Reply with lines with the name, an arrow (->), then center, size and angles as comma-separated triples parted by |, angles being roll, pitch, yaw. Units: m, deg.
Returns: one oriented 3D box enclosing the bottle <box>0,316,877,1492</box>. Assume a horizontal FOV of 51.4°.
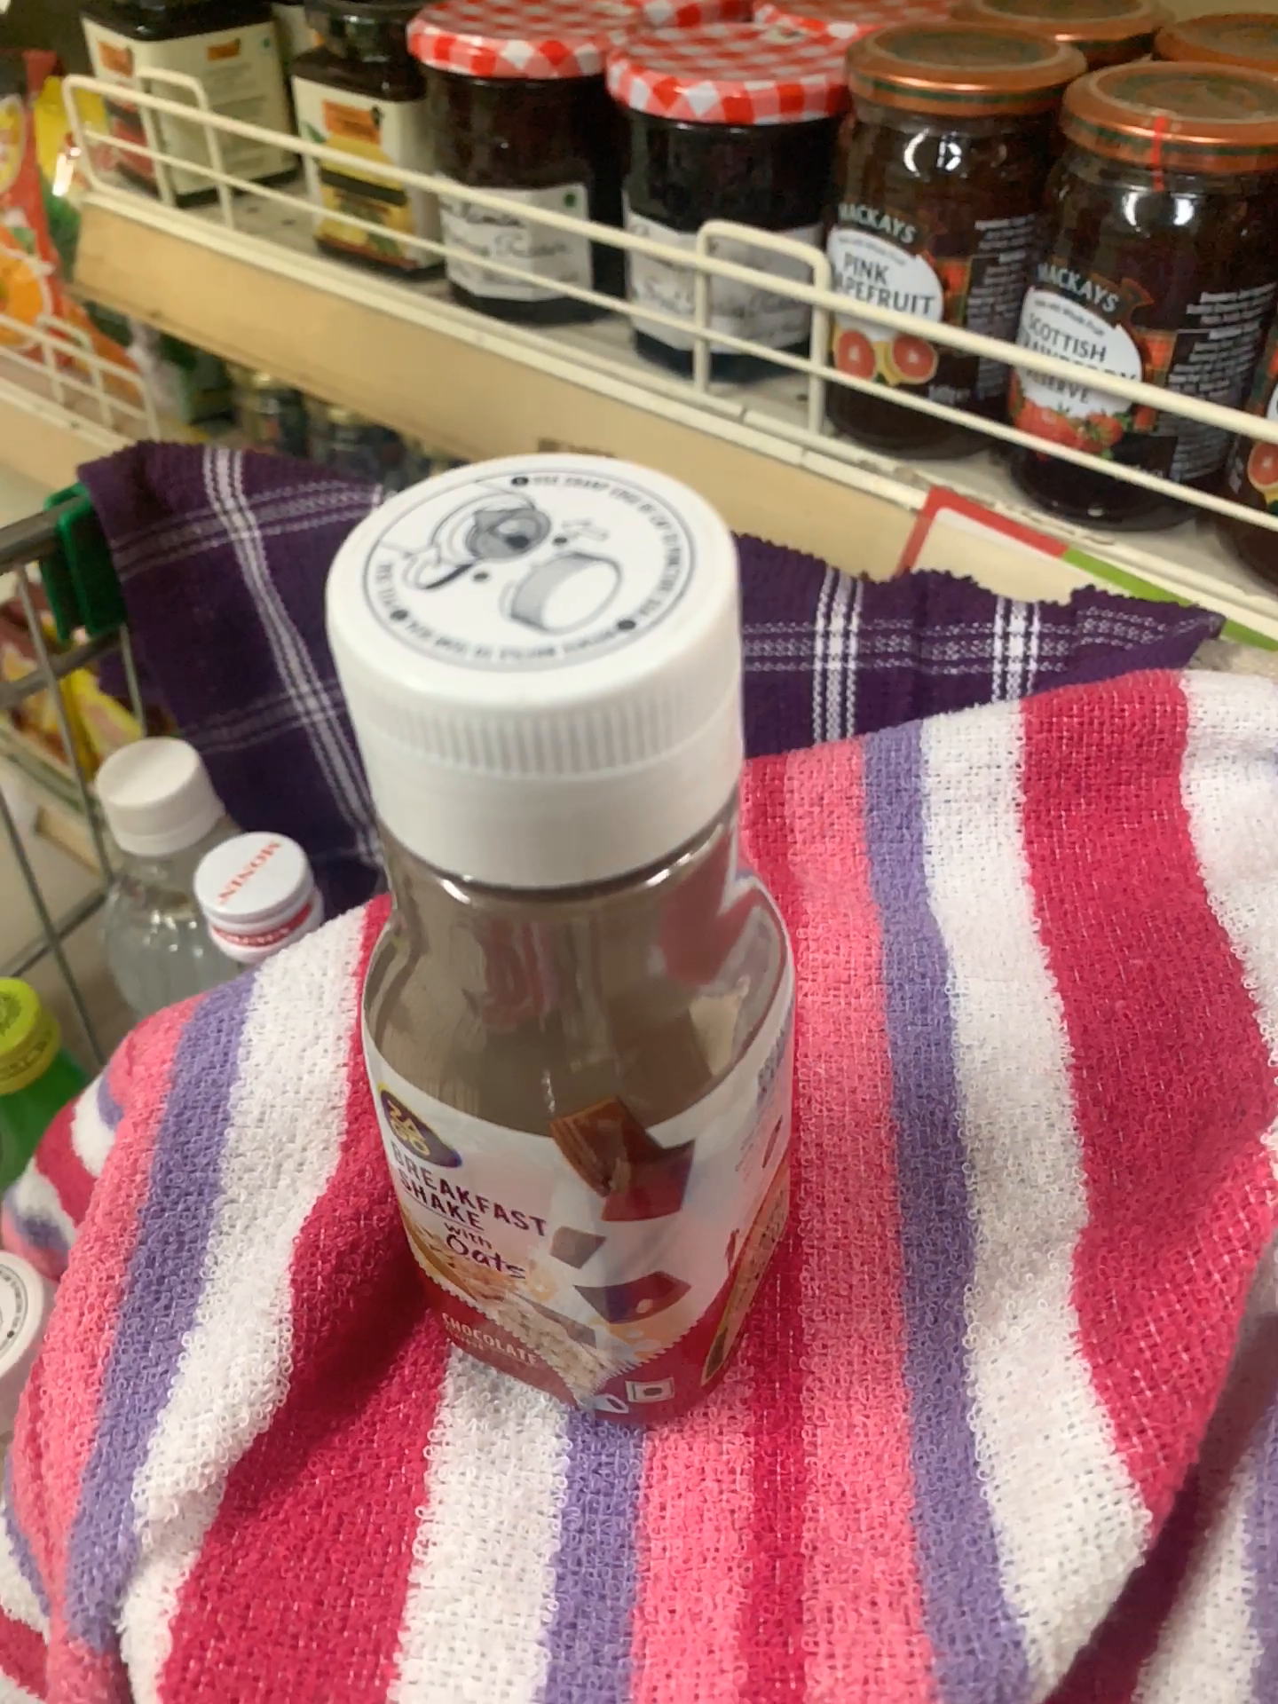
bottle -> -0.014, 0.017, 0.166 | 0.060, 0.139, 0.050 | 18, 49, 20
